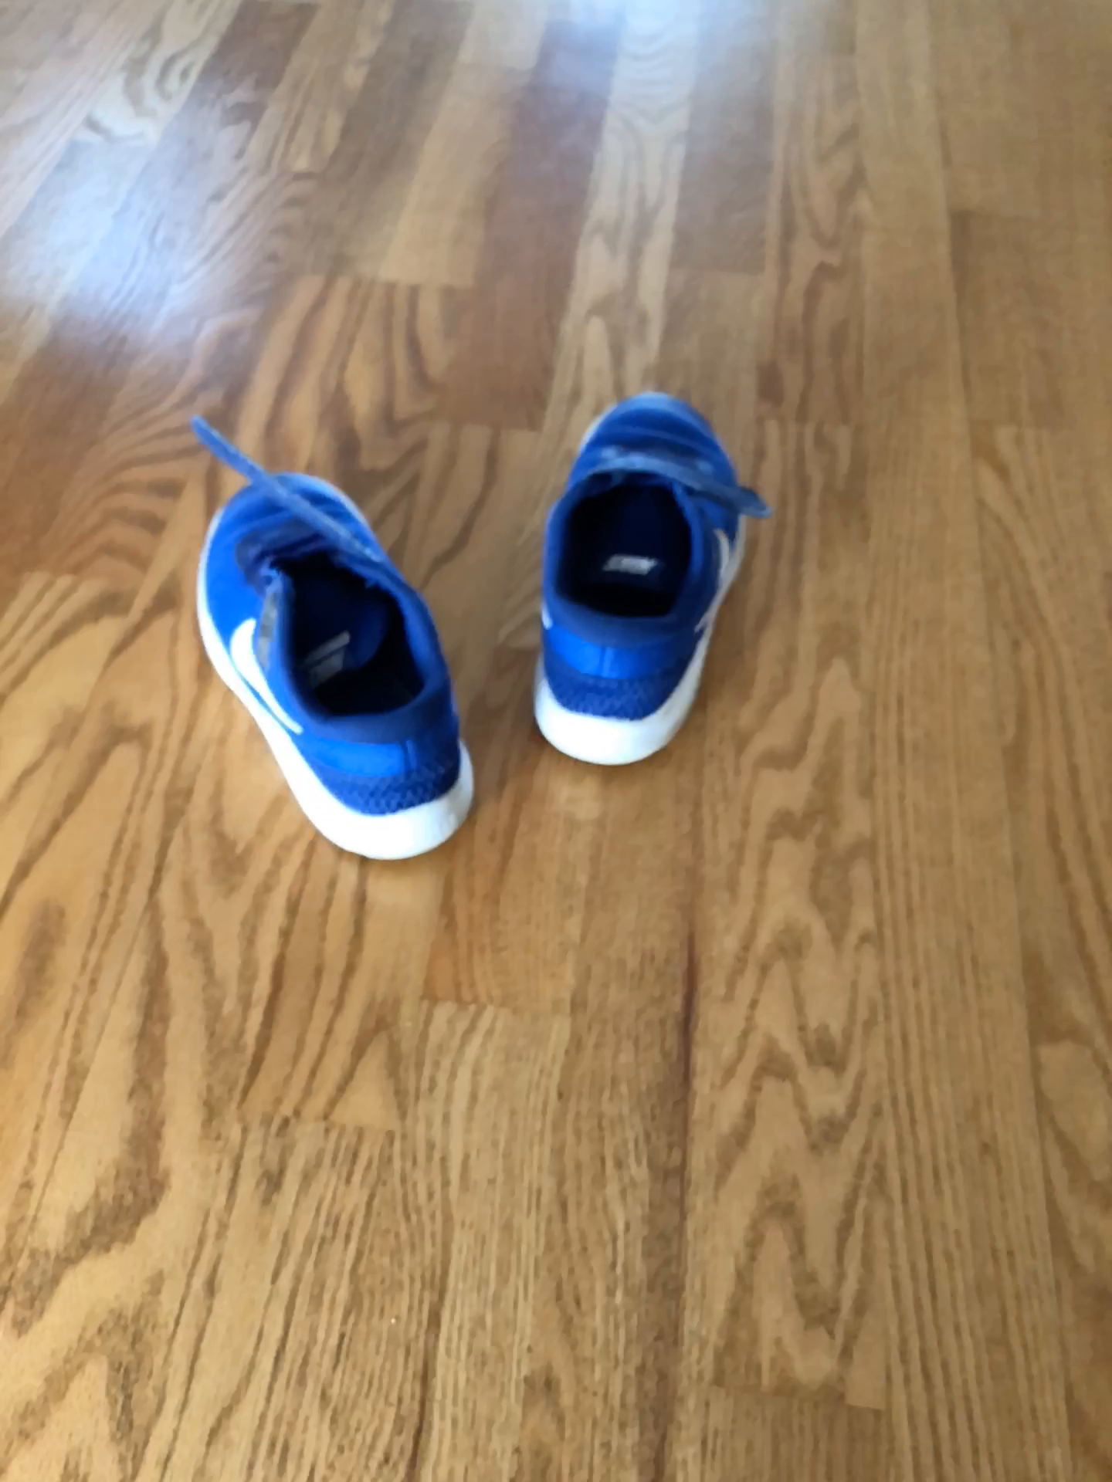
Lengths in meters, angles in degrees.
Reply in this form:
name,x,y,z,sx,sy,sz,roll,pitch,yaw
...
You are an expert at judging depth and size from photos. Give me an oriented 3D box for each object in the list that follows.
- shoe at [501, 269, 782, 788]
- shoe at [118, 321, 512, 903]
name,x,y,z,sx,sy,sz,roll,pitch,yaw
shoe,0.041,-0.099,0.544,0.093,0.092,0.215,7,54,4
shoe,-0.099,-0.060,0.504,0.093,0.092,0.215,-17,56,-13
